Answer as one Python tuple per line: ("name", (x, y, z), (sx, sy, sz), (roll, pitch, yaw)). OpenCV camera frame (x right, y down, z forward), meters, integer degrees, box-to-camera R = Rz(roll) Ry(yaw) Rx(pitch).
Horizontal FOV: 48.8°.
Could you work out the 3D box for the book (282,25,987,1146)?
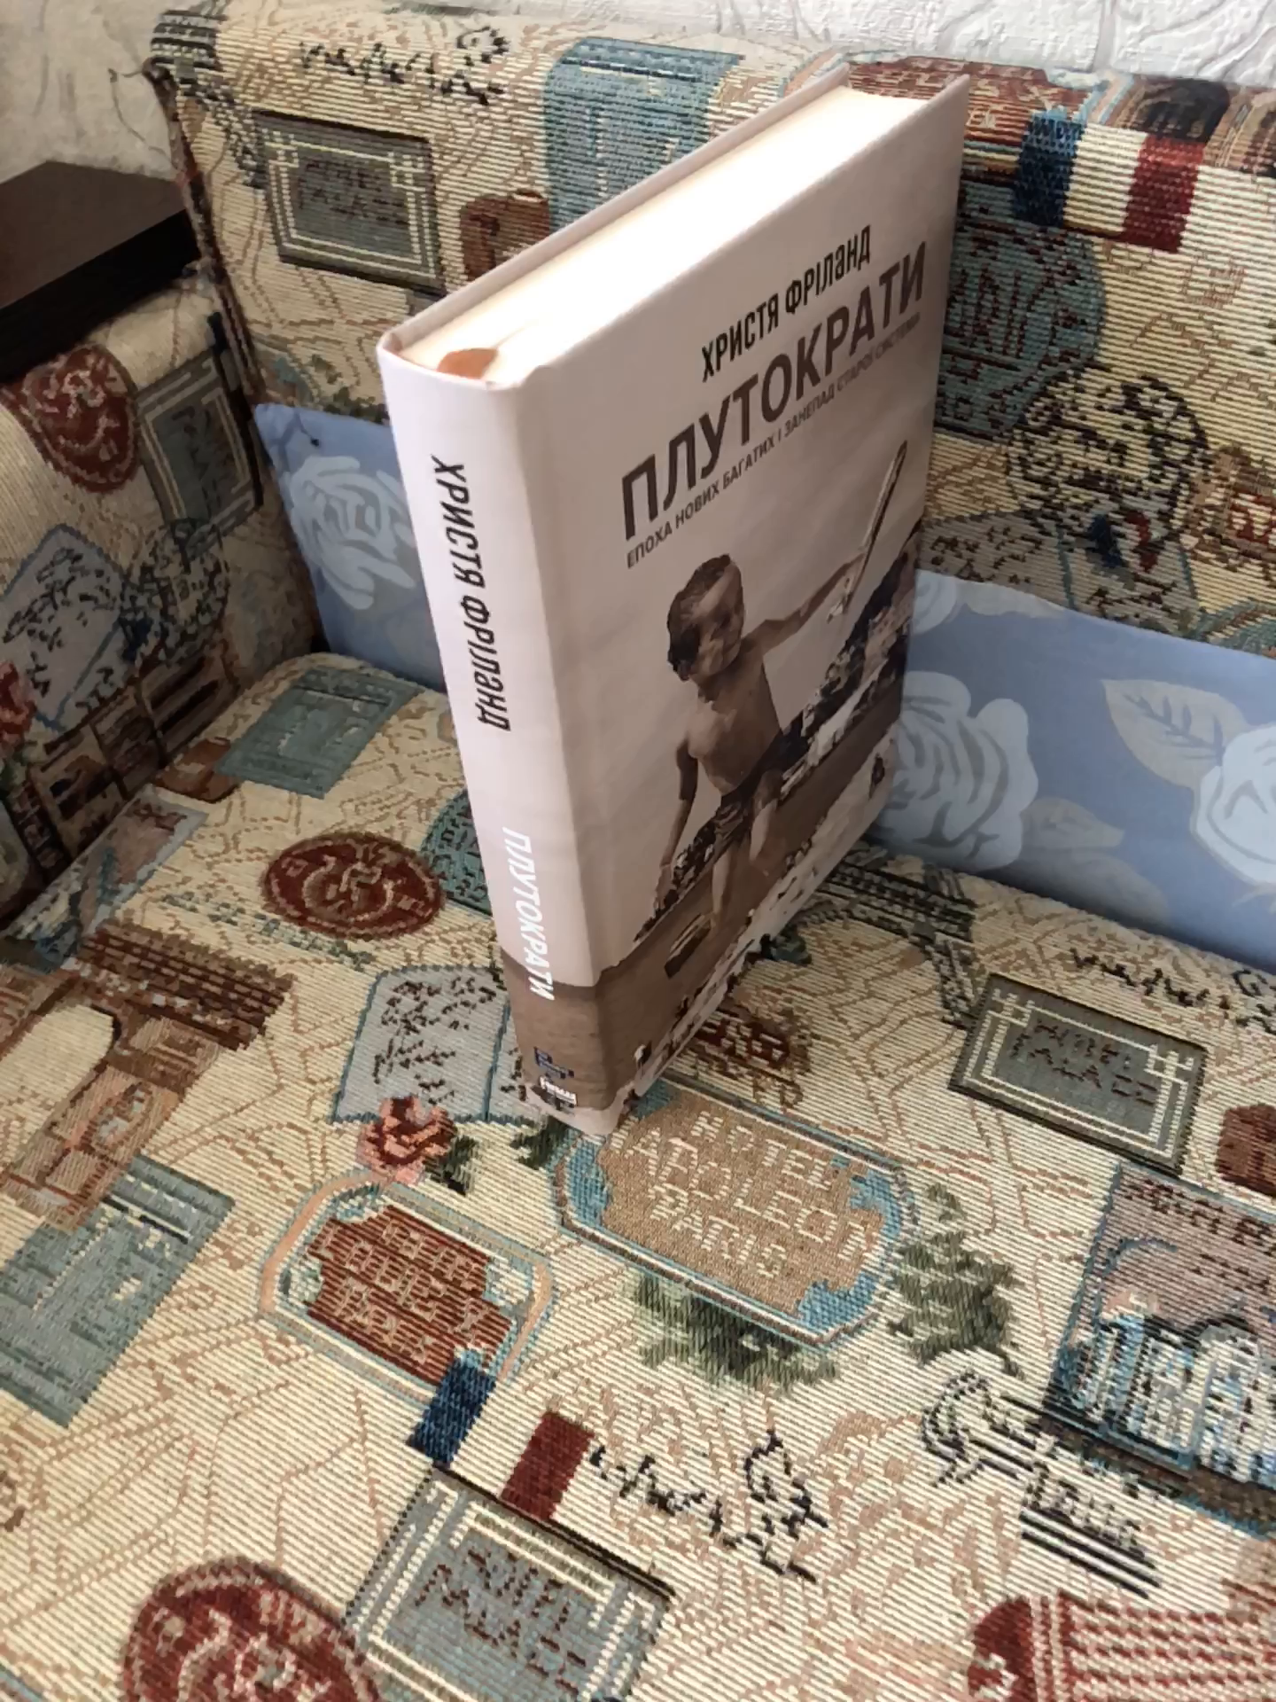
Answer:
("book", (0.013, -0.055, 0.349), (0.040, 0.218, 0.171), (28, 55, 25))
